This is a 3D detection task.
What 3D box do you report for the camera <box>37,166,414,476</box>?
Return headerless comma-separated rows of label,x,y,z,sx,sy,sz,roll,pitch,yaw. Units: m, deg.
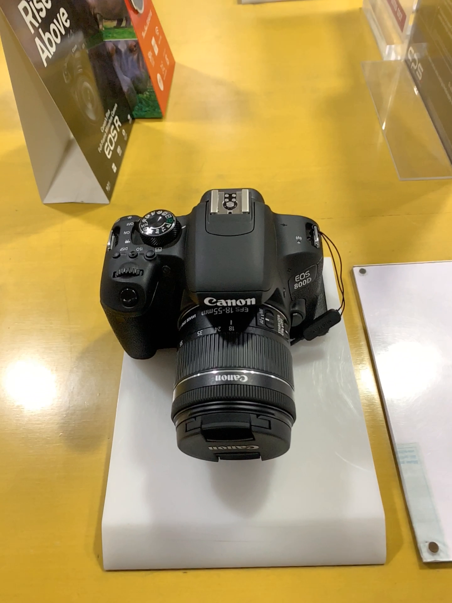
camera,0.000,0.011,0.247,0.140,0.090,0.130,-3,54,2
